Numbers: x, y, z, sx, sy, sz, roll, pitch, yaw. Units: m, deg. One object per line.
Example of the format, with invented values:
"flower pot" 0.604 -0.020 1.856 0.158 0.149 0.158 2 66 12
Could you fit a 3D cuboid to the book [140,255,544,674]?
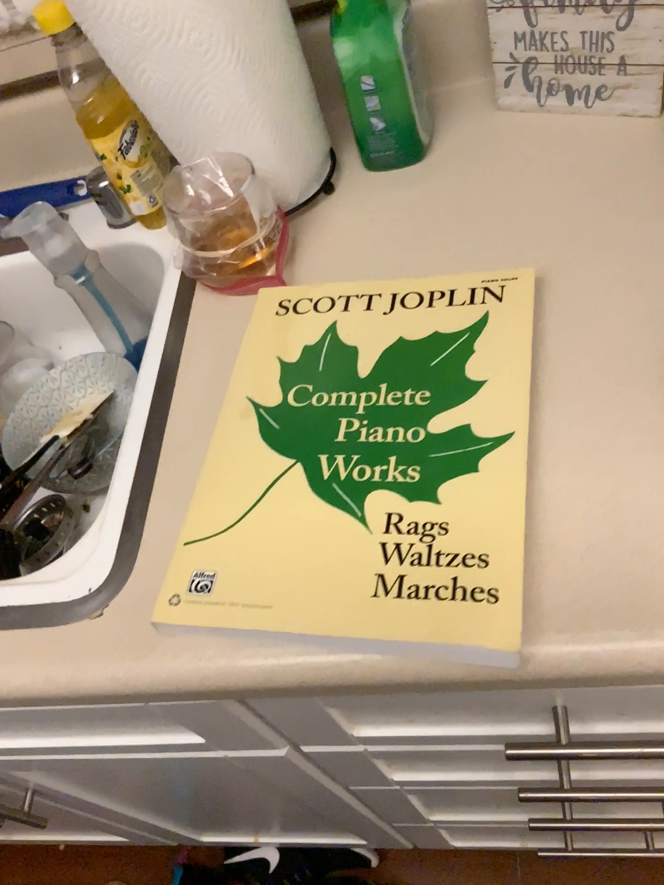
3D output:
"book" 0.024 -0.007 0.538 0.240 0.030 0.320 0 55 18
